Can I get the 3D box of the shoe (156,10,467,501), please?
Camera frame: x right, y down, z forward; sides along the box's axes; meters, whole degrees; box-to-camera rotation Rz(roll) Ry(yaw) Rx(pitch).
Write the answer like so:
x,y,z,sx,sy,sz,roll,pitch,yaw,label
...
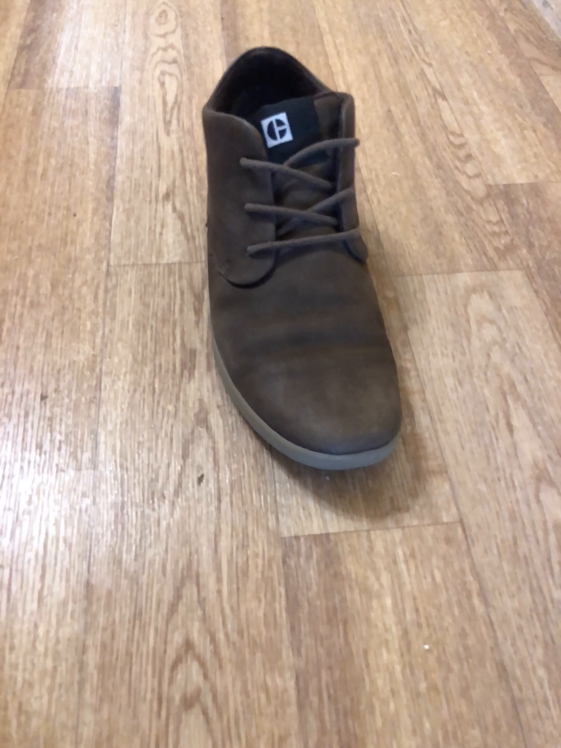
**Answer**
x,y,z,sx,sy,sz,roll,pitch,yaw,label
-0.004,-0.083,0.350,0.100,0.110,0.271,-8,55,-7,shoe
